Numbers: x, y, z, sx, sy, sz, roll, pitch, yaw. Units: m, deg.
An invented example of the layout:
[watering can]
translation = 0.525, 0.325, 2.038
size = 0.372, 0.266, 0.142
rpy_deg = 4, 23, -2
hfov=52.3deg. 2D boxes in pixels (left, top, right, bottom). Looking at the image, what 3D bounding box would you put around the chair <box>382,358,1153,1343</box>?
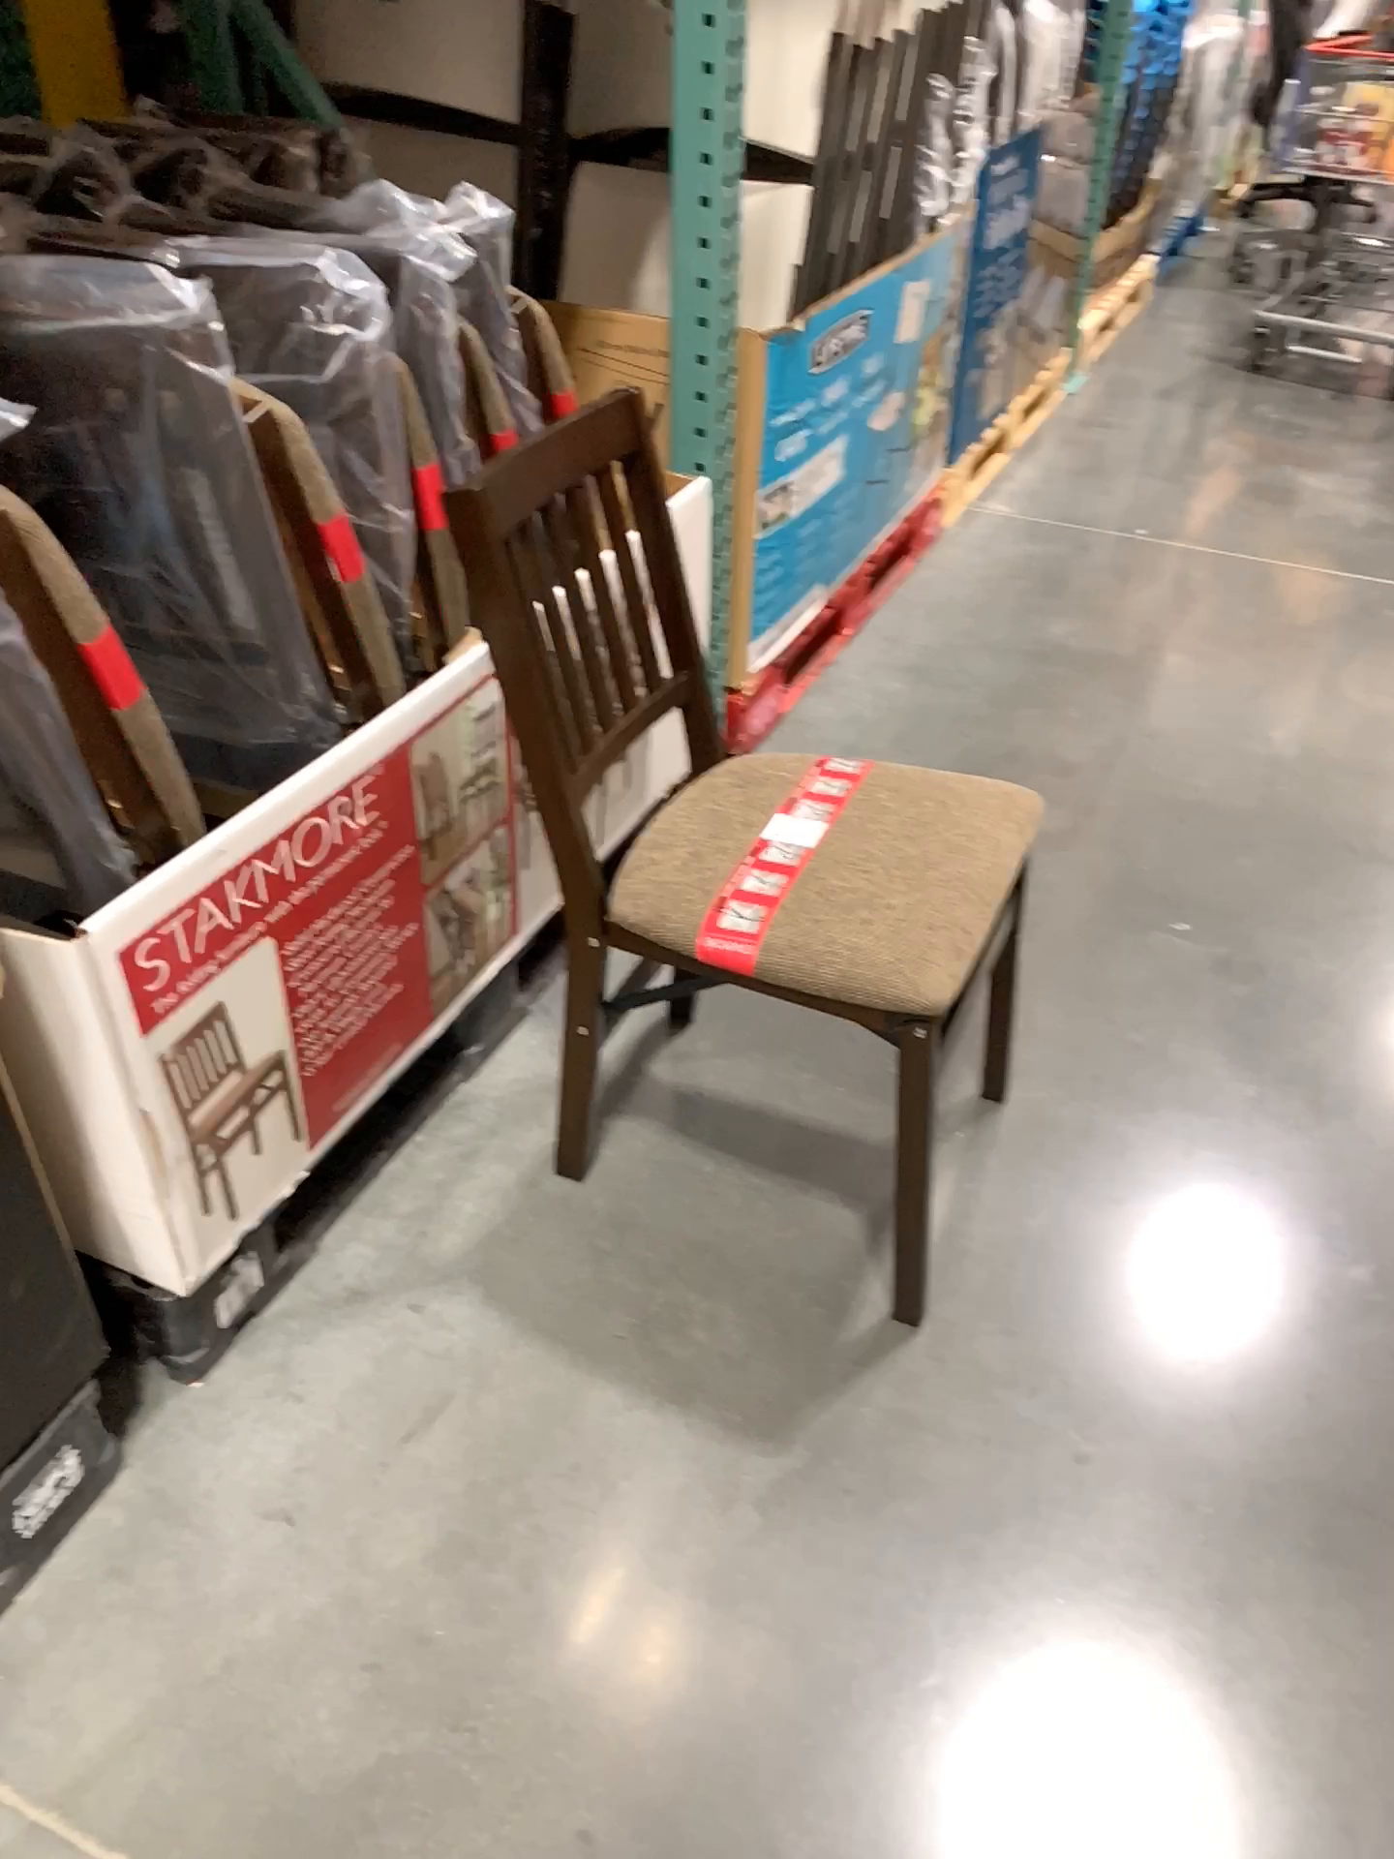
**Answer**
[chair]
translation = 0.071, -0.082, 1.512
size = 0.572, 0.837, 0.422
rpy_deg = 16, 39, 18
